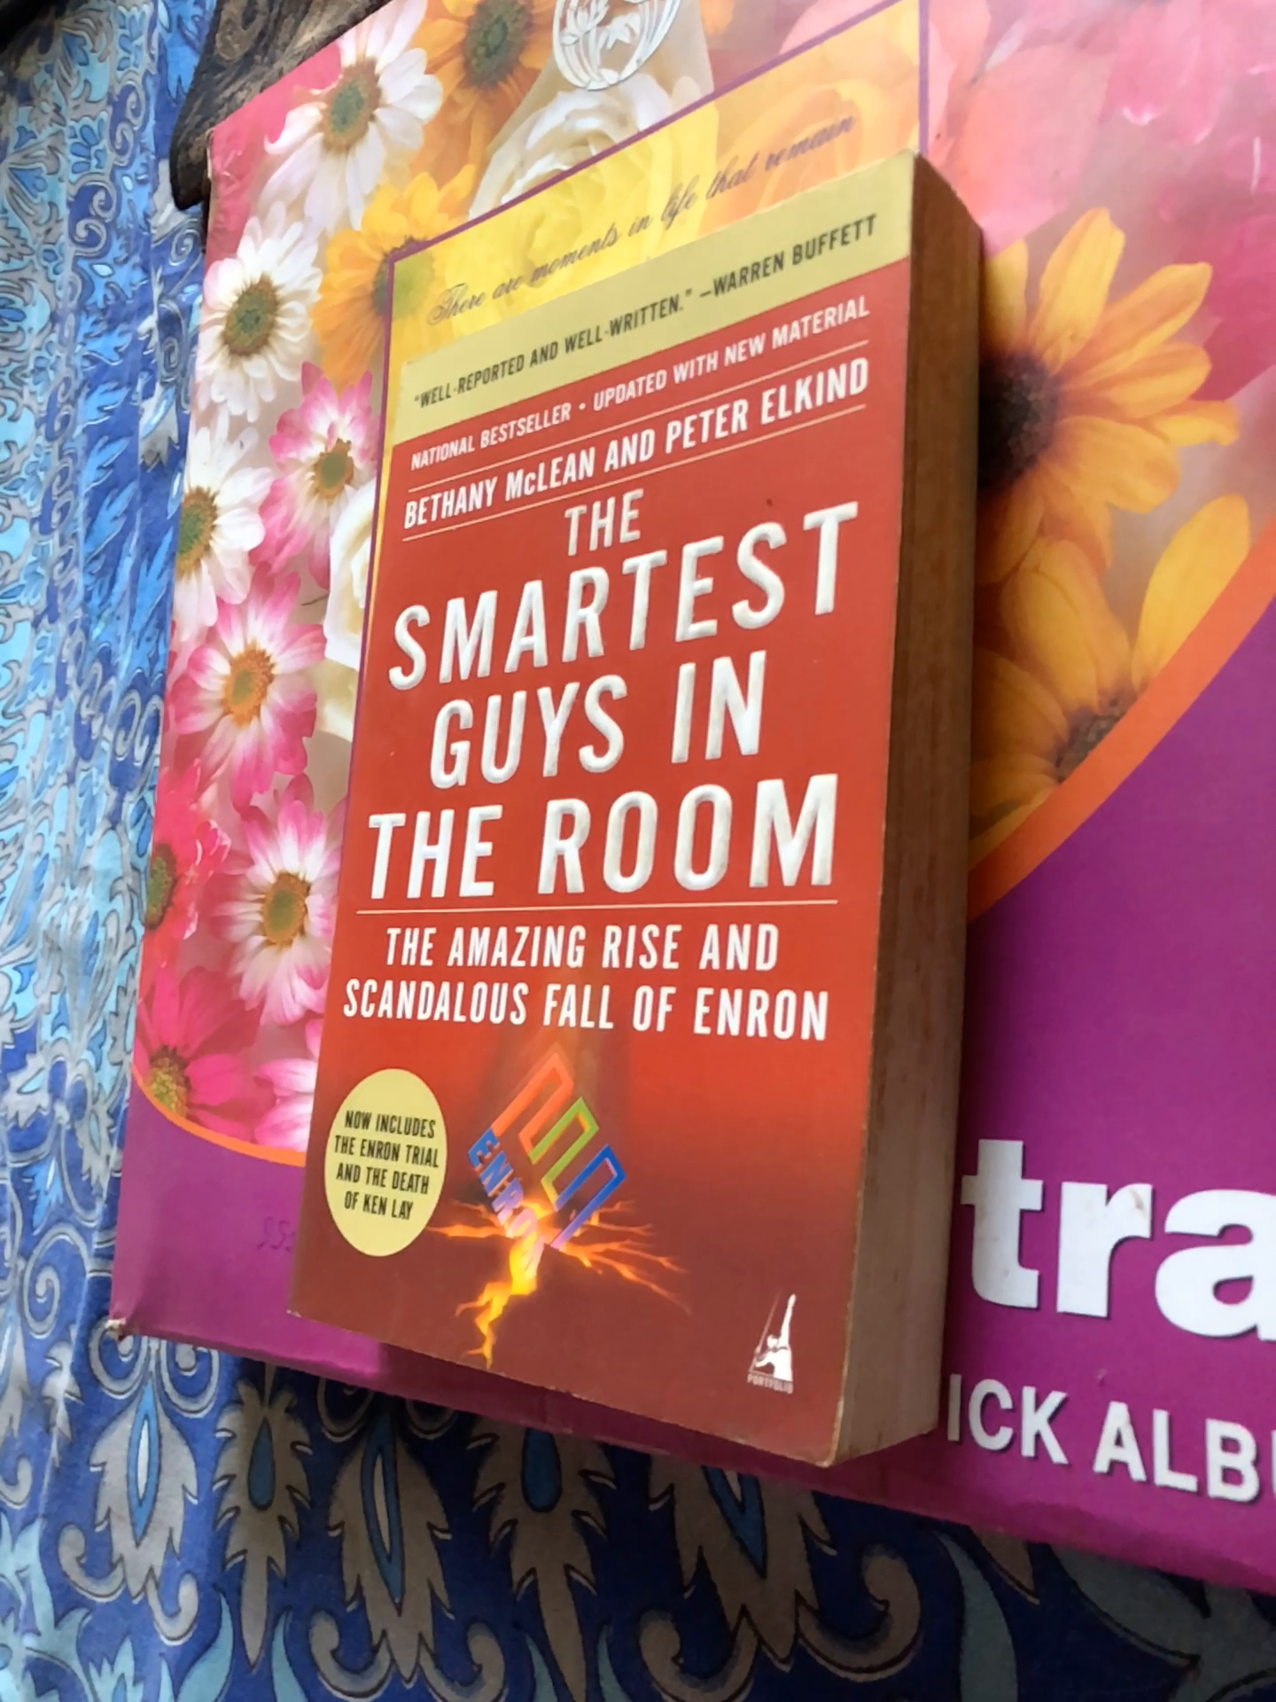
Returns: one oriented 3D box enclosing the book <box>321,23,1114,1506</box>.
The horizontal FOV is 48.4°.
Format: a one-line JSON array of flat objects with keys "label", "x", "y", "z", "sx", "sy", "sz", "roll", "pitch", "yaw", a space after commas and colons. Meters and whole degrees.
[{"label": "book", "x": 0.009, "y": -0.014, "z": 0.273, "sx": 0.151, "sy": 0.040, "sz": 0.220, "roll": -4, "pitch": 78, "yaw": 45}]
